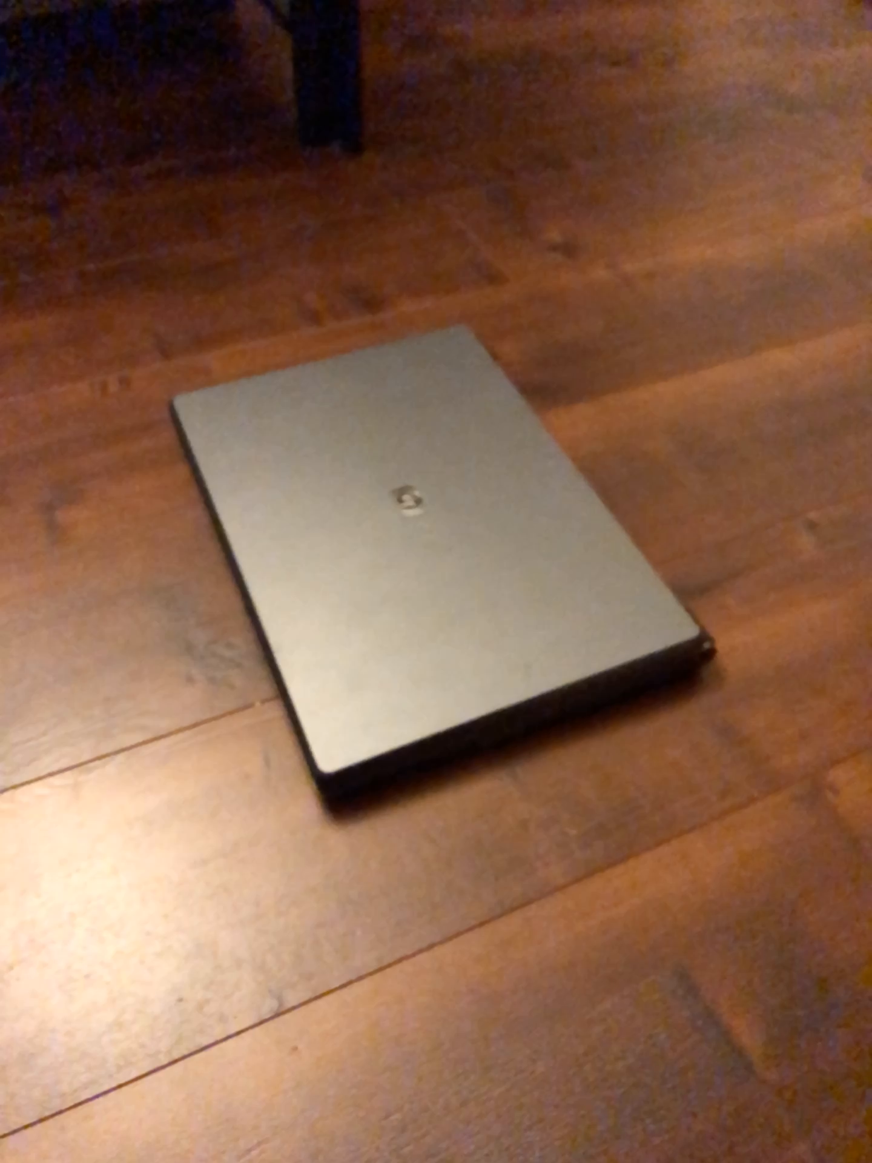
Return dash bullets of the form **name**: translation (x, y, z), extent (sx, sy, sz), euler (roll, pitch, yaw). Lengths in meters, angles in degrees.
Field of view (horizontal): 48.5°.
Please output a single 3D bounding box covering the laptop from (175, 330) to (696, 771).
- **laptop**: translation (-0.018, -0.046, 0.605), extent (0.216, 0.005, 0.311), euler (-18, 52, -16)
